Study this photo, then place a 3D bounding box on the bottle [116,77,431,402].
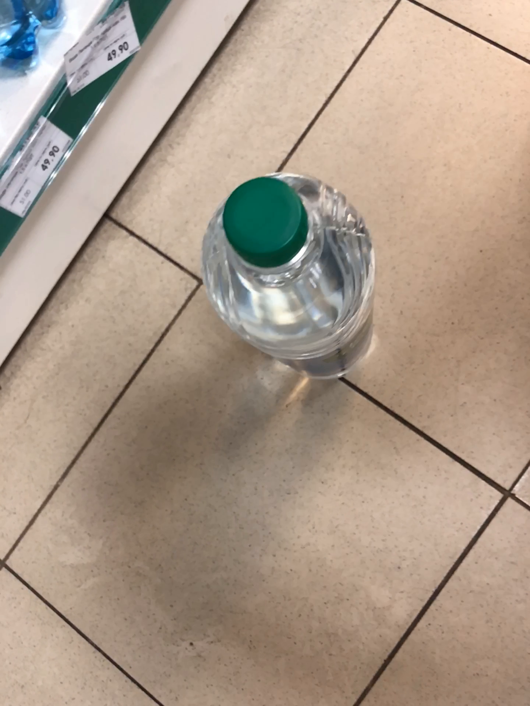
[{"bbox_3d":[0.027,-0.032,0.363,0.086,0.301,0.089,-1,84,10],"label":"bottle"}]
